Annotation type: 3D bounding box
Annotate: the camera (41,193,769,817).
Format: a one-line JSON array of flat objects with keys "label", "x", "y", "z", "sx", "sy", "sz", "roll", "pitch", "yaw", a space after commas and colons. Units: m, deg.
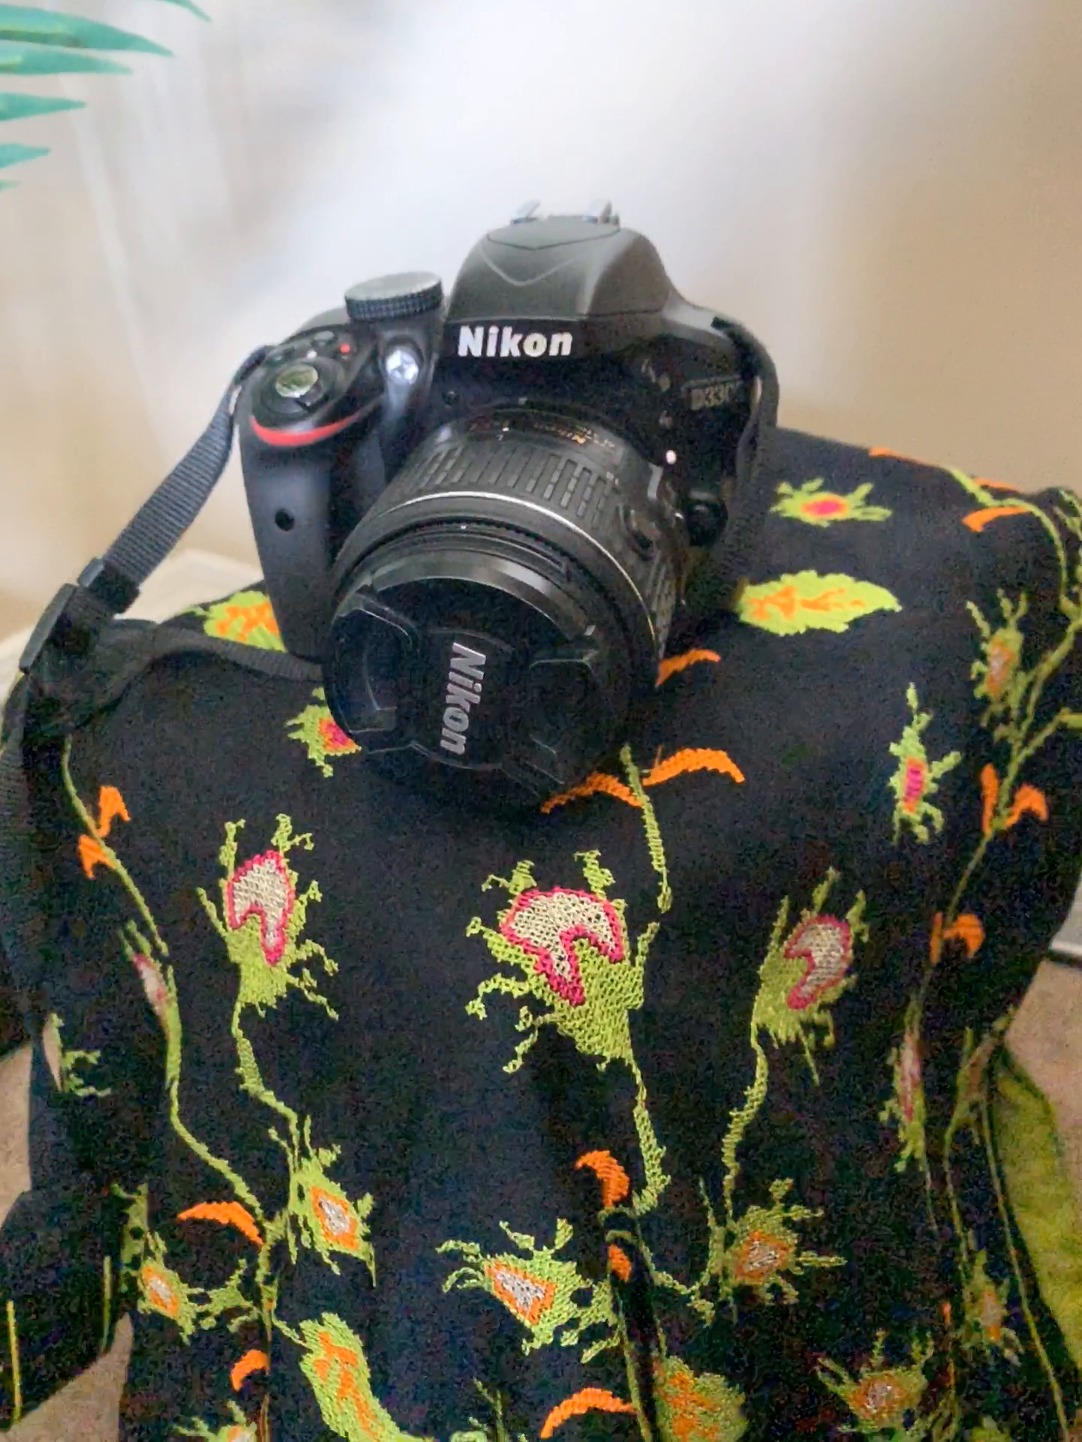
[{"label": "camera", "x": -0.014, "y": -0.049, "z": 0.244, "sx": 0.120, "sy": 0.099, "sz": 0.091, "roll": 1, "pitch": 33, "yaw": 10}]
